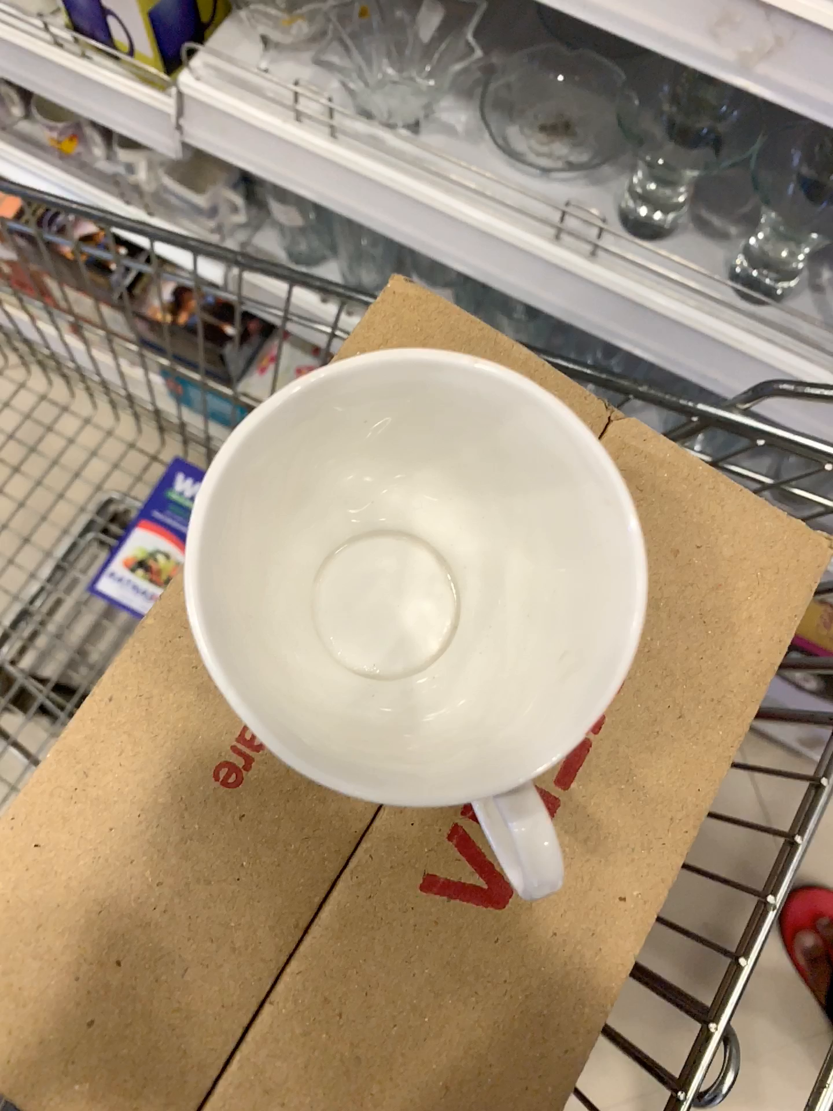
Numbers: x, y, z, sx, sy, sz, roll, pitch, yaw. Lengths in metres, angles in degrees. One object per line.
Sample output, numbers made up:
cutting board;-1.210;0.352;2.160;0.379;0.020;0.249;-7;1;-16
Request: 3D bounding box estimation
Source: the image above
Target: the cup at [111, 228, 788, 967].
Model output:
cup;0.002;0.007;0.169;0.080;0.060;0.100;-19;80;-7
